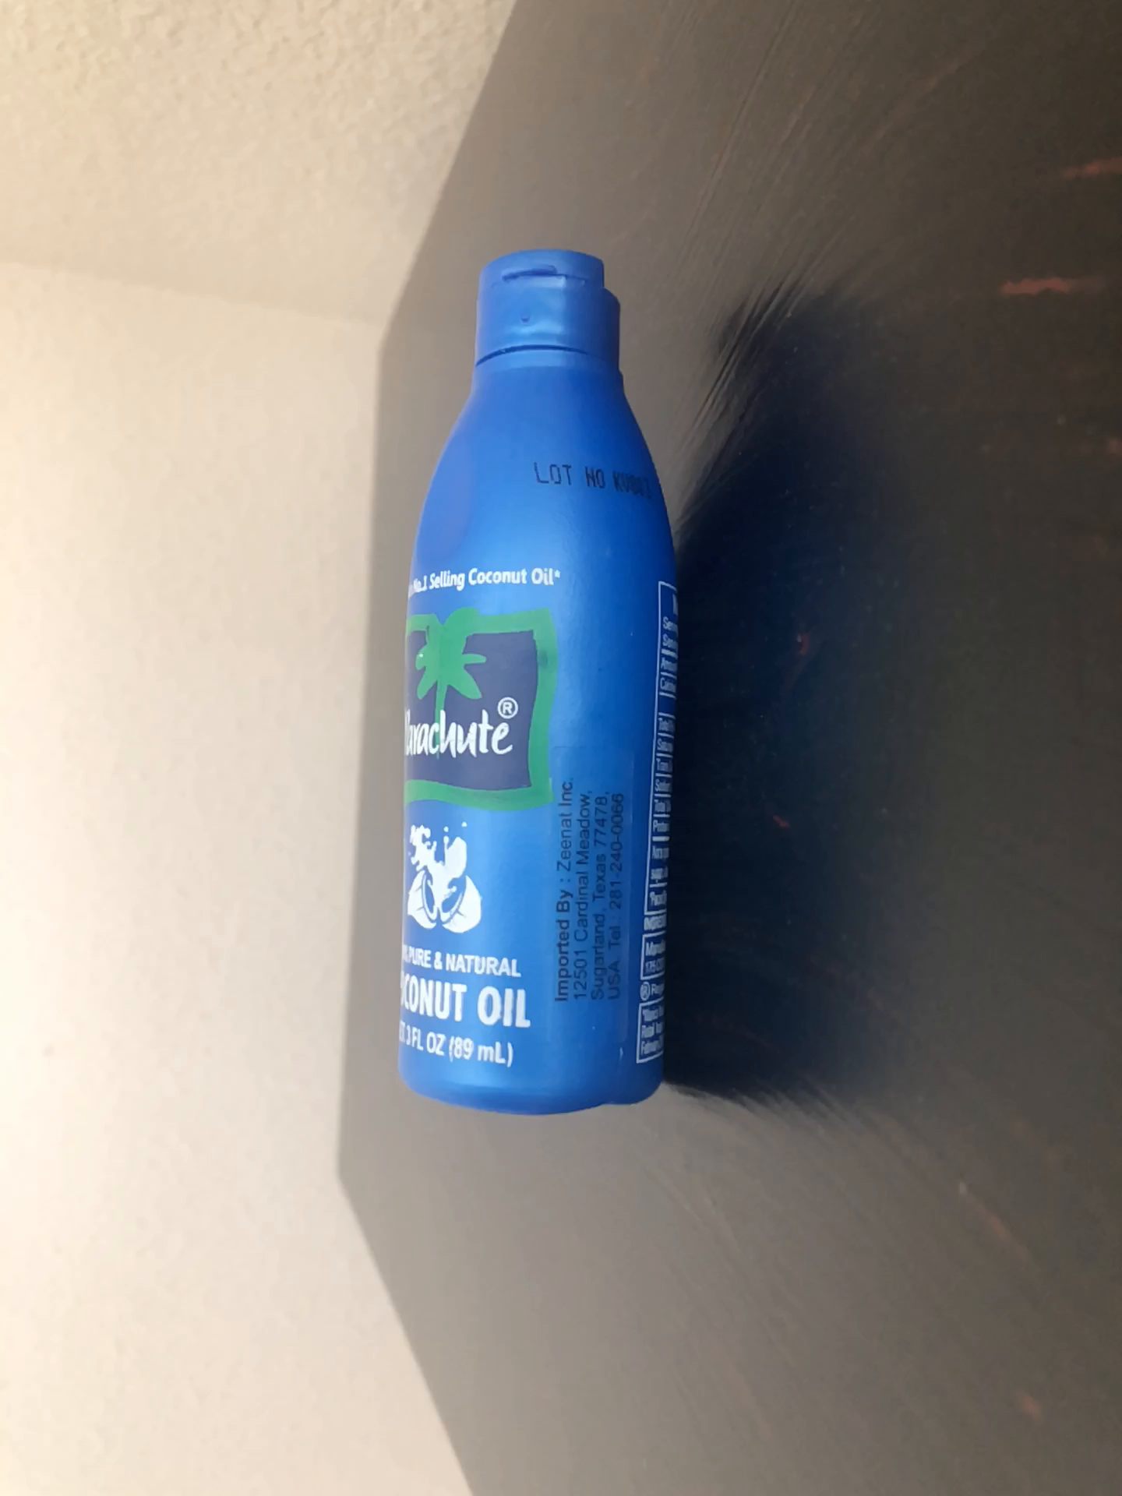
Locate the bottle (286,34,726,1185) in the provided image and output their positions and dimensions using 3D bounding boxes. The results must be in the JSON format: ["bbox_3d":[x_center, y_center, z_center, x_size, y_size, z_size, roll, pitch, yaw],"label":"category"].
[{"bbox_3d":[-0.007,-0.017,0.180,0.040,0.040,0.140,-1,85,45],"label":"bottle"}]
